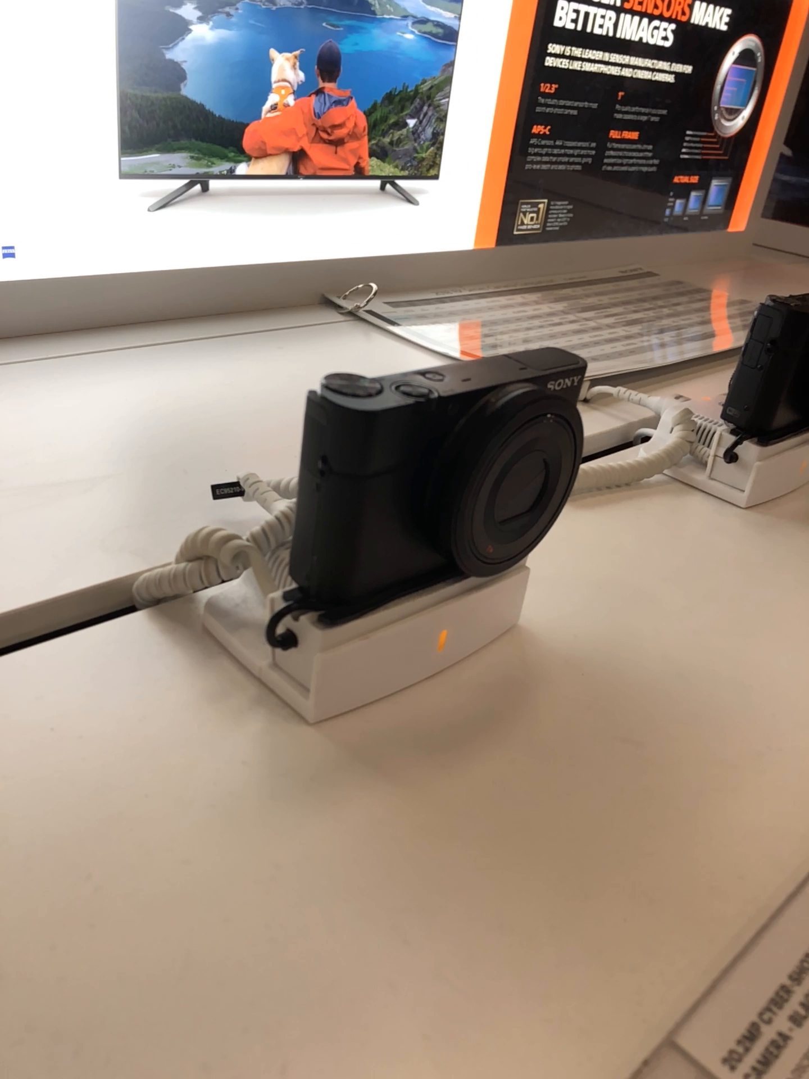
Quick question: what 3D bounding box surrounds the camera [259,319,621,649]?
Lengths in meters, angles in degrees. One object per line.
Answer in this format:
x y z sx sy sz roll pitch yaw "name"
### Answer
0.013 -0.022 0.265 0.110 0.070 0.030 -19 38 -41 "camera"
